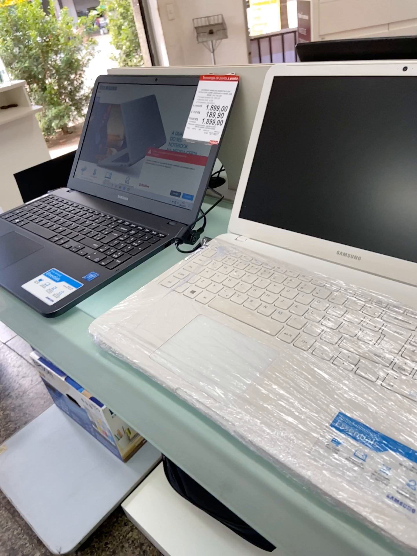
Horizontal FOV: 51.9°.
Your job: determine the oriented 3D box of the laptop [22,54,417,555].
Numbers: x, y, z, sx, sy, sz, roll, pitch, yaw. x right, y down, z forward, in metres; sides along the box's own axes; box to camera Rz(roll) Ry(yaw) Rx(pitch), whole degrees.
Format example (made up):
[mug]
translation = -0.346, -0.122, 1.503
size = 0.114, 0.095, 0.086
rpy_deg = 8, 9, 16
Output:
[laptop]
translation = 0.112, -0.063, 0.426
size = 0.376, 0.192, 0.382
rpy_deg = 21, 46, 39
